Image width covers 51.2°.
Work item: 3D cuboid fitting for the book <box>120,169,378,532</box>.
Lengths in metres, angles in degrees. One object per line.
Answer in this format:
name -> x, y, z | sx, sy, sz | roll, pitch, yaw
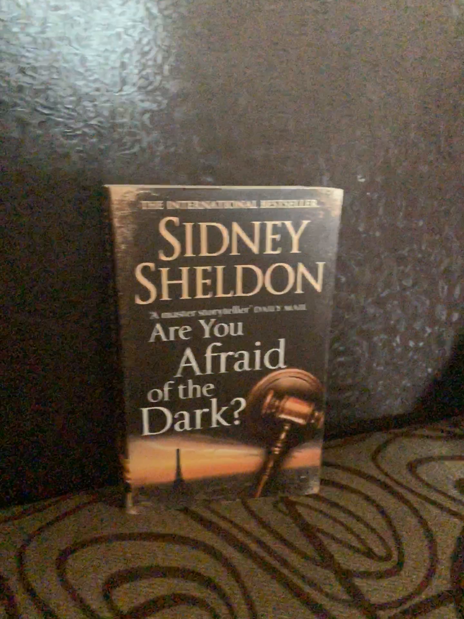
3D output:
book -> 0.003, 0.021, 0.262 | 0.120, 0.179, 0.040 | -1, 15, -16
